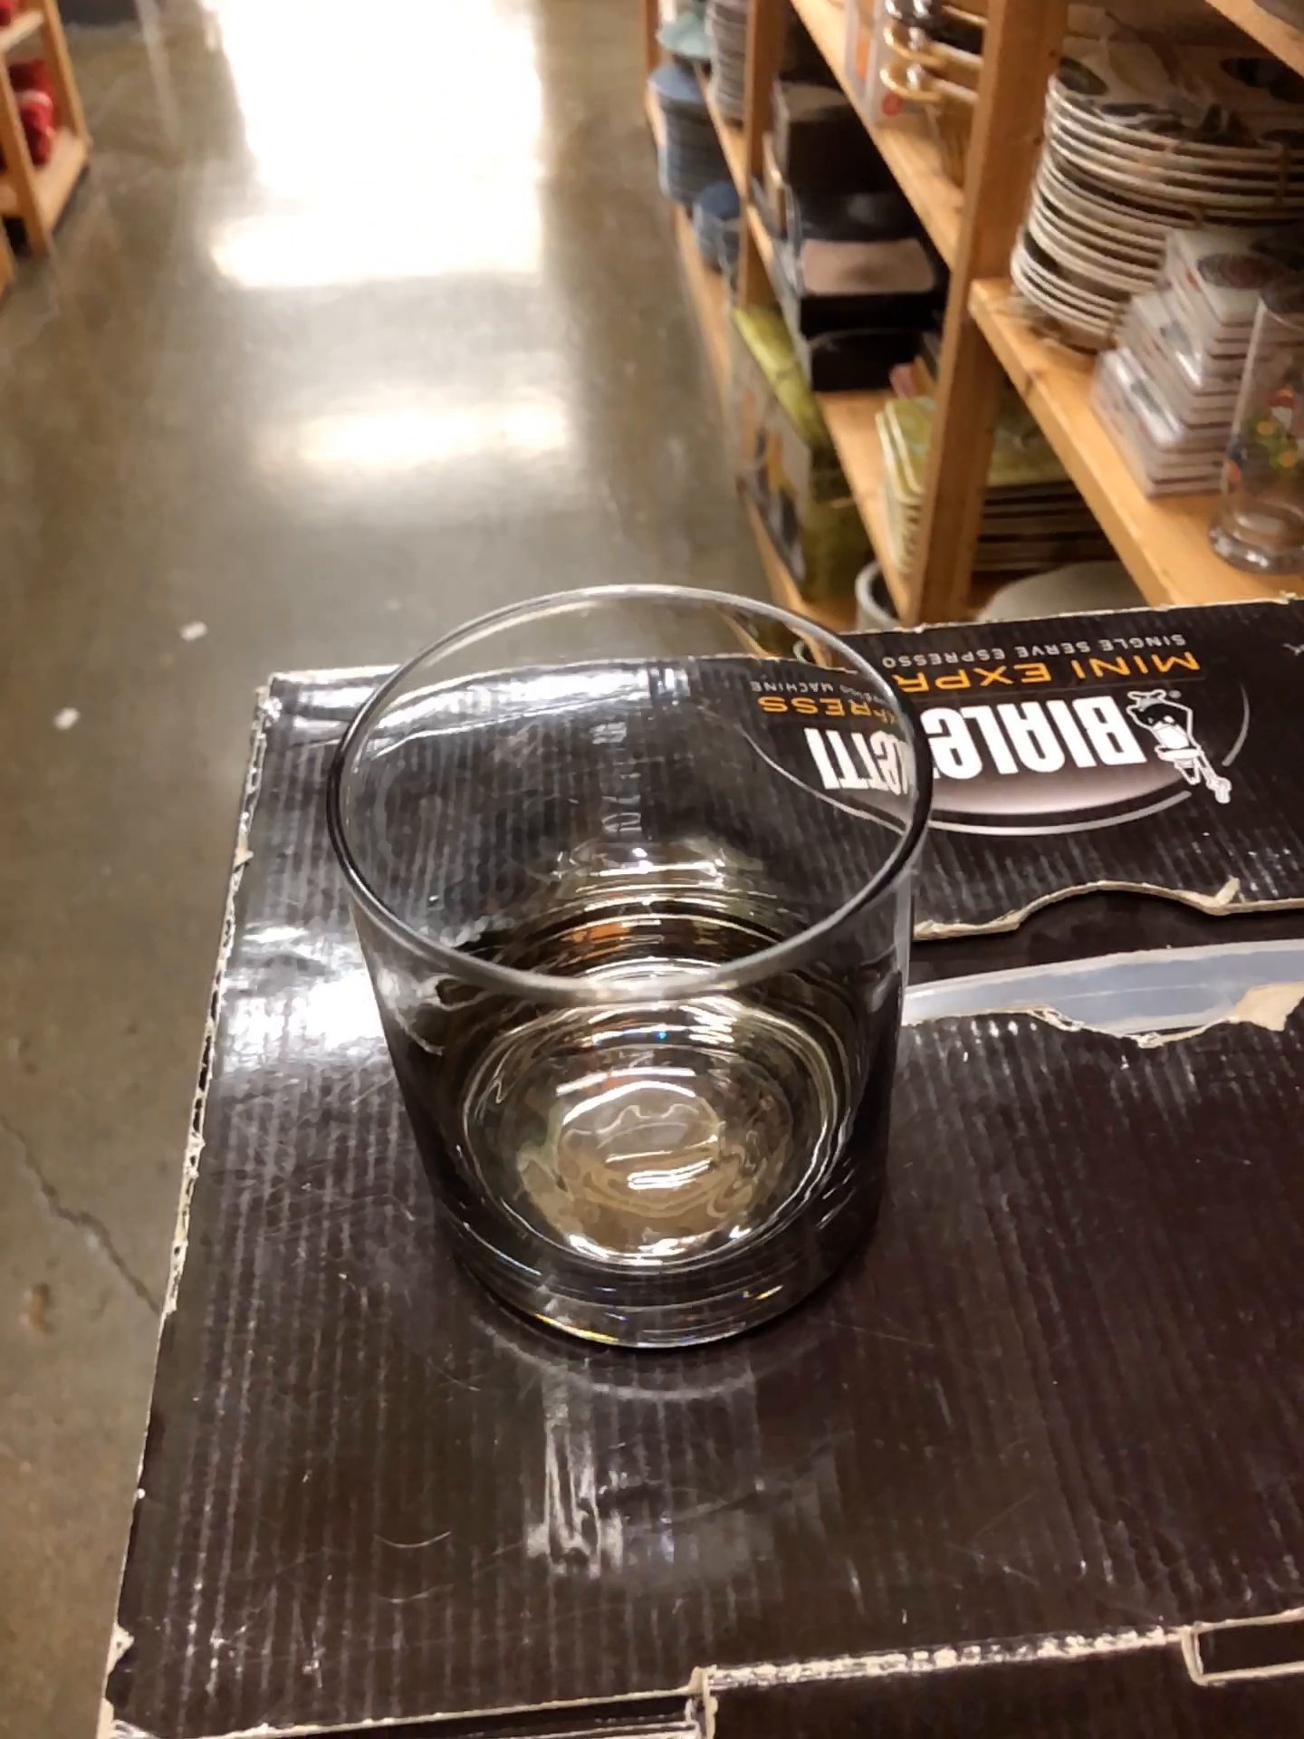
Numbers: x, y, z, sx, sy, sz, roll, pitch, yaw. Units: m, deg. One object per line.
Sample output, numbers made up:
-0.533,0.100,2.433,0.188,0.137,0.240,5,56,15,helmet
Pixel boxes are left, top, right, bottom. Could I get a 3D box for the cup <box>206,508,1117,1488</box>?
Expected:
0.001,0.017,0.229,0.089,0.093,0.085,-1,46,1,cup
